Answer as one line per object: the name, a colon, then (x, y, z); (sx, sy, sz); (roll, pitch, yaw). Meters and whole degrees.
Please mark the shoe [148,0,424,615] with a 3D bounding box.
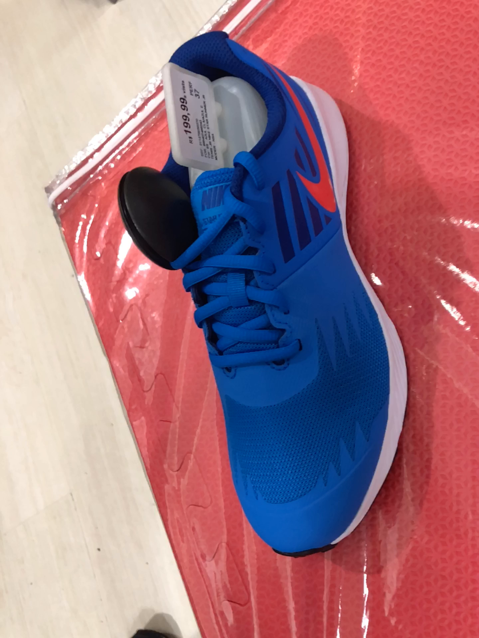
shoe: (0.023, -0.018, 0.285); (0.100, 0.100, 0.280); (-8, 78, 30)
